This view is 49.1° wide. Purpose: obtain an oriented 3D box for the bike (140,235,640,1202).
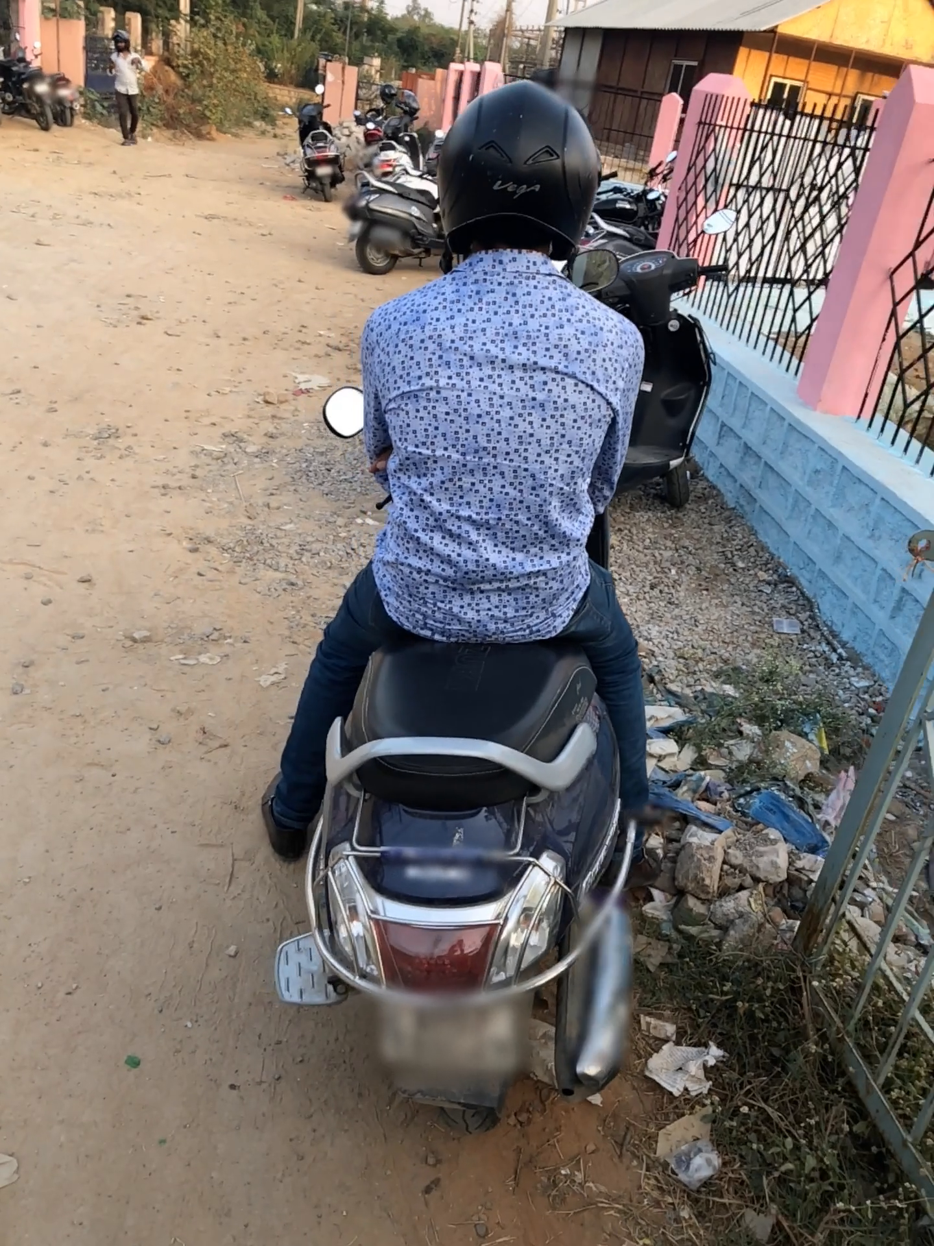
[{"bbox_3d":[-0.223,0.016,2.013,0.593,1.013,1.401,6,32,-7],"label":"bike"}]
